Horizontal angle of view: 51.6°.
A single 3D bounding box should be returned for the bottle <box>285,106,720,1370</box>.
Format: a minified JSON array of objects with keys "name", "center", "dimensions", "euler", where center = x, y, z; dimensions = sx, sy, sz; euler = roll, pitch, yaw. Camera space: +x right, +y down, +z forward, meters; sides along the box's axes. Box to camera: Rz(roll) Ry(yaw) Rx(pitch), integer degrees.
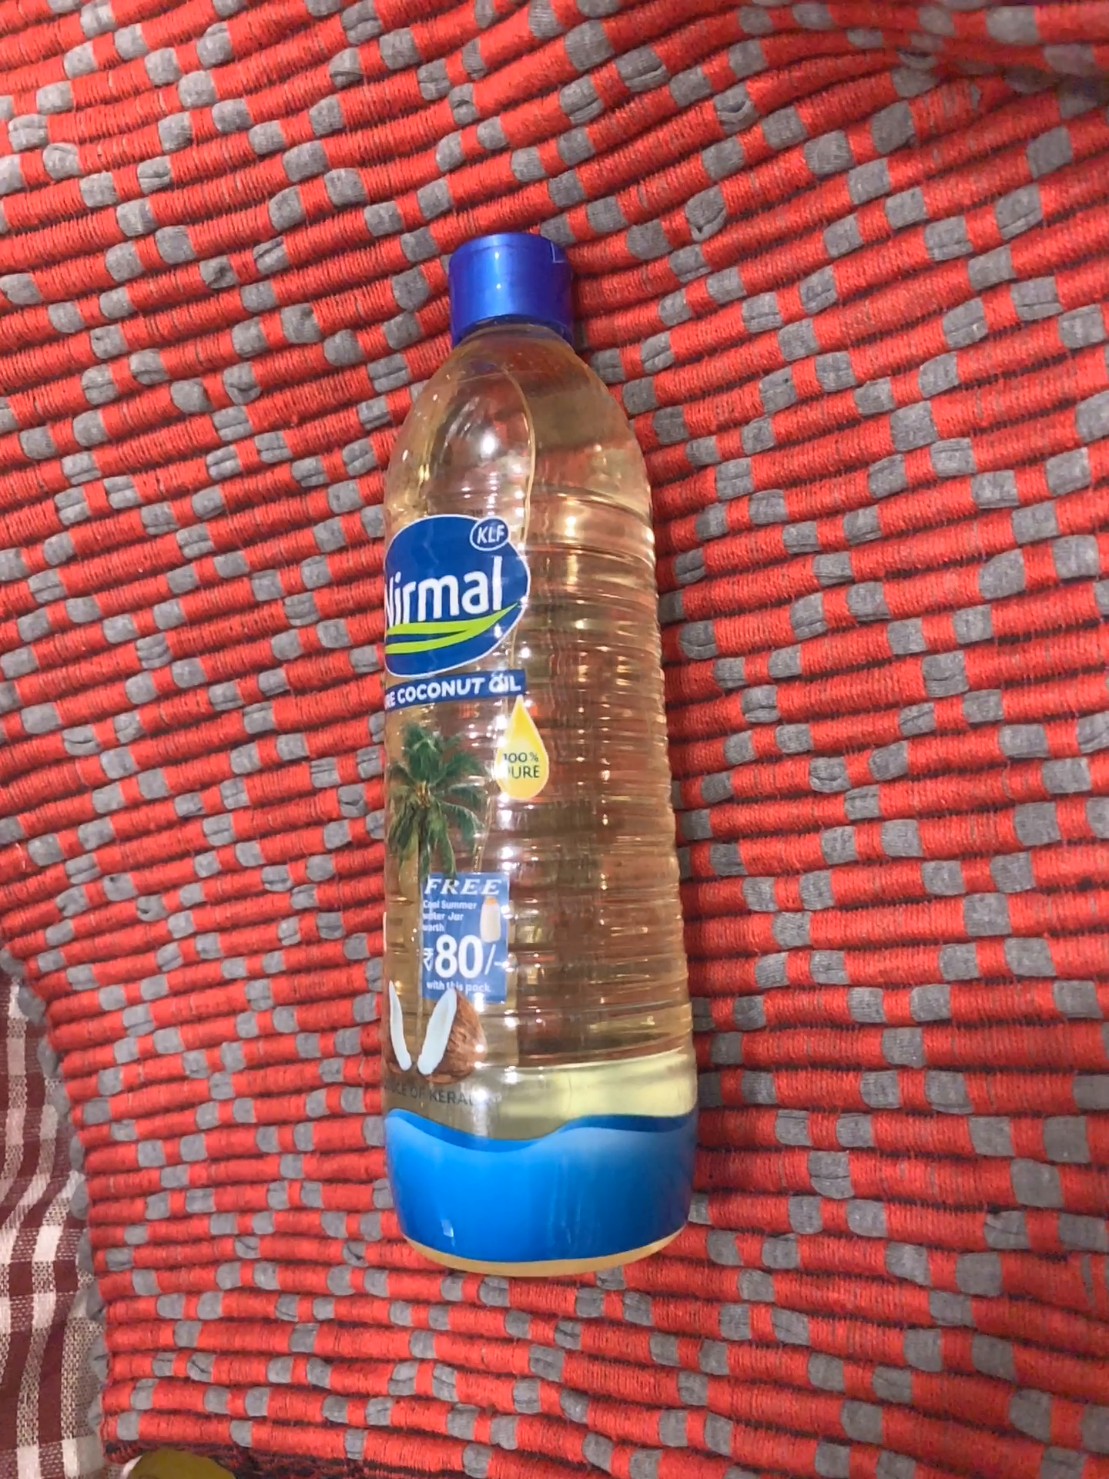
[{"name":"bottle","center":[-0.011,-0.001,0.219],"dimensions":[0.060,0.050,0.200],"euler":[-5,85,38]}]
